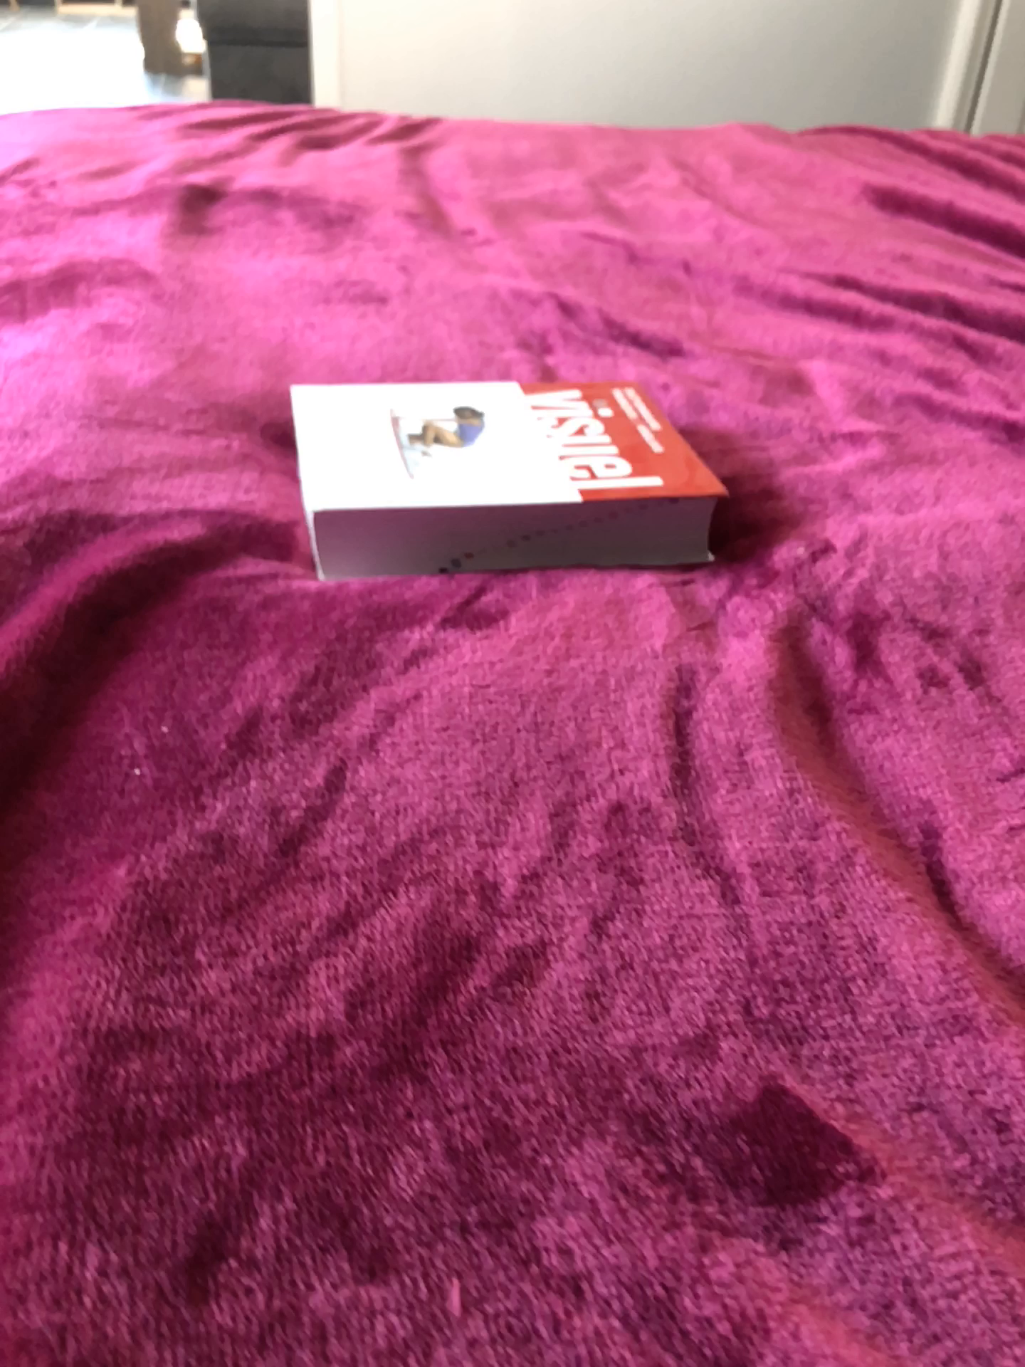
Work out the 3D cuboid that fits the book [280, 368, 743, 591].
[{"bbox_3d":[-0.009,-0.098,0.512,0.180,0.039,0.141,-4,35,-11],"label":"book"}]
